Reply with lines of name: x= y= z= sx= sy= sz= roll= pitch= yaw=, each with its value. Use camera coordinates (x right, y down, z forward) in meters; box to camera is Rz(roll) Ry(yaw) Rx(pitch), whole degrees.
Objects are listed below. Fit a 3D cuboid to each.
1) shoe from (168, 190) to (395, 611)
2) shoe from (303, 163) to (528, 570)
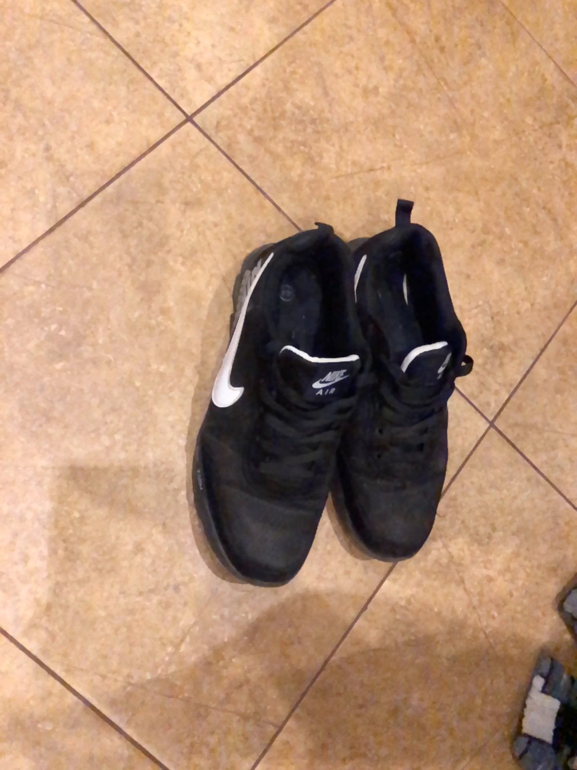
shoe: x=-0.006 y=0.016 z=0.481 sx=0.110 sy=0.120 sz=0.270 roll=11 pitch=75 yaw=-17
shoe: x=0.095 y=-0.009 z=0.533 sx=0.120 sy=0.120 sz=0.300 roll=2 pitch=78 yaw=-19
